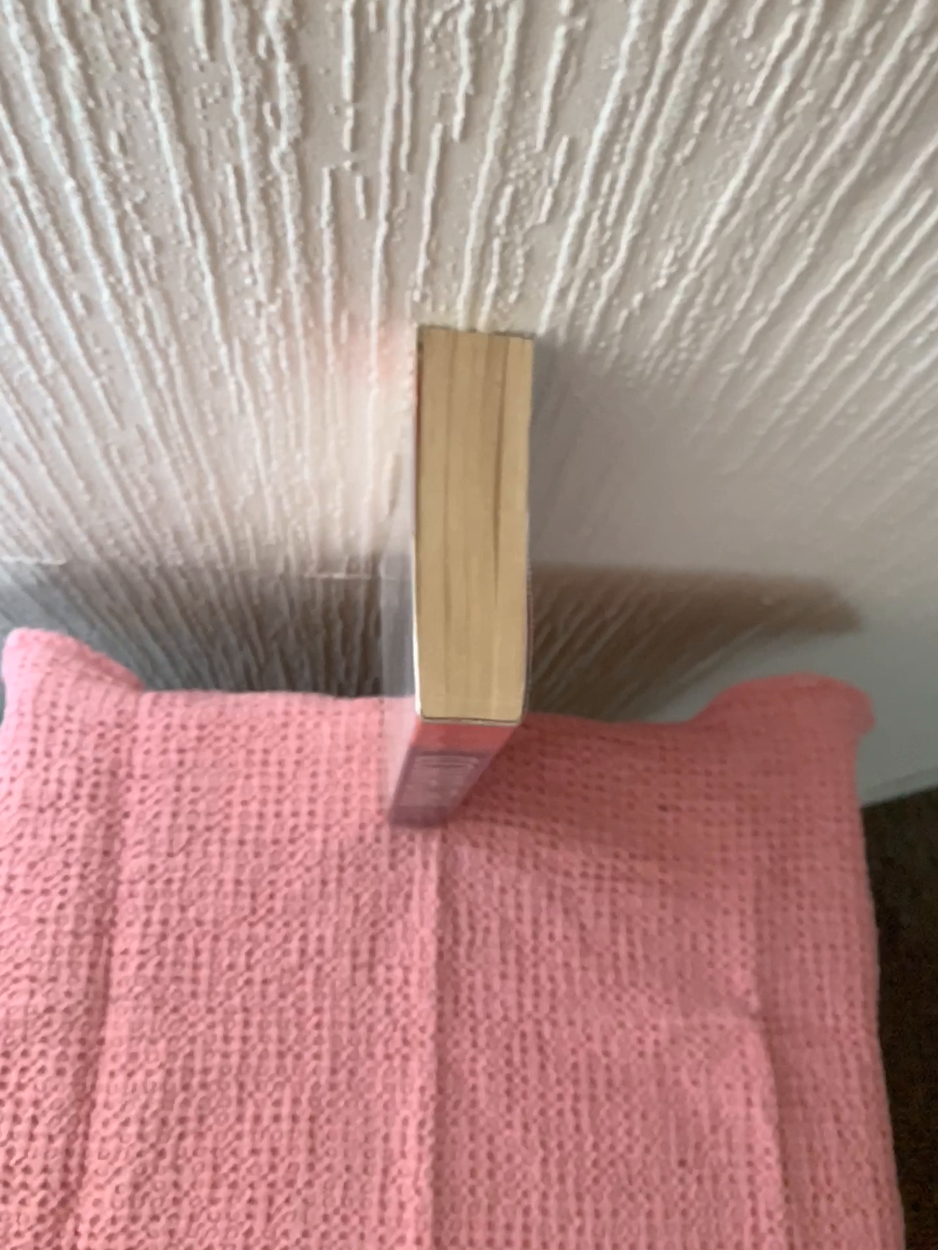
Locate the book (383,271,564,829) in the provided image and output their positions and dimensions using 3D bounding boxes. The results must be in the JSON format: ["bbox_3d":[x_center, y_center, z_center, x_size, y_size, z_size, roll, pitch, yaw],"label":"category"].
[{"bbox_3d":[-0.004,-0.010,0.374,0.040,0.189,0.151,5,71,-5],"label":"book"}]
